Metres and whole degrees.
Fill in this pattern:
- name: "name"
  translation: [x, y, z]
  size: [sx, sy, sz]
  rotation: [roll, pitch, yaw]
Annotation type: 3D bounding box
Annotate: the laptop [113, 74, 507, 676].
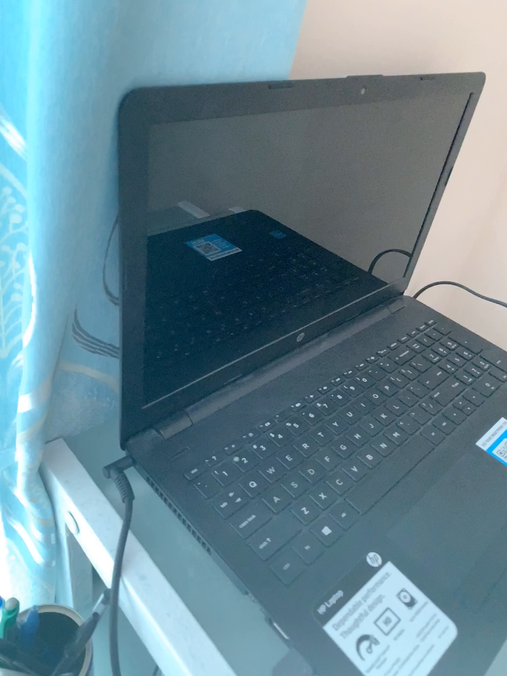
- name: "laptop"
  translation: [0.136, -0.016, 0.344]
  size: [0.360, 0.225, 0.245]
  rotation: [-25, 50, -39]
